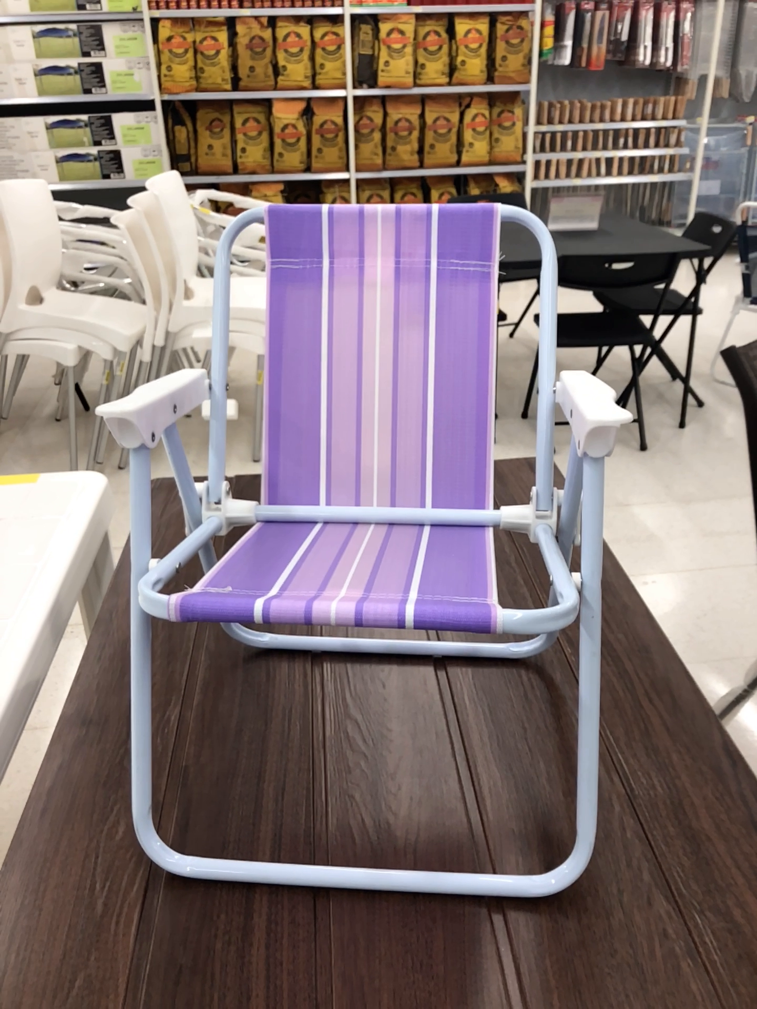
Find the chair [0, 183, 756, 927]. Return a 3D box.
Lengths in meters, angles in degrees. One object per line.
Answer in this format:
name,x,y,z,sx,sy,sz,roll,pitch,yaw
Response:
chair,-0.010,0.002,0.666,0.420,0.437,0.393,1,27,5
